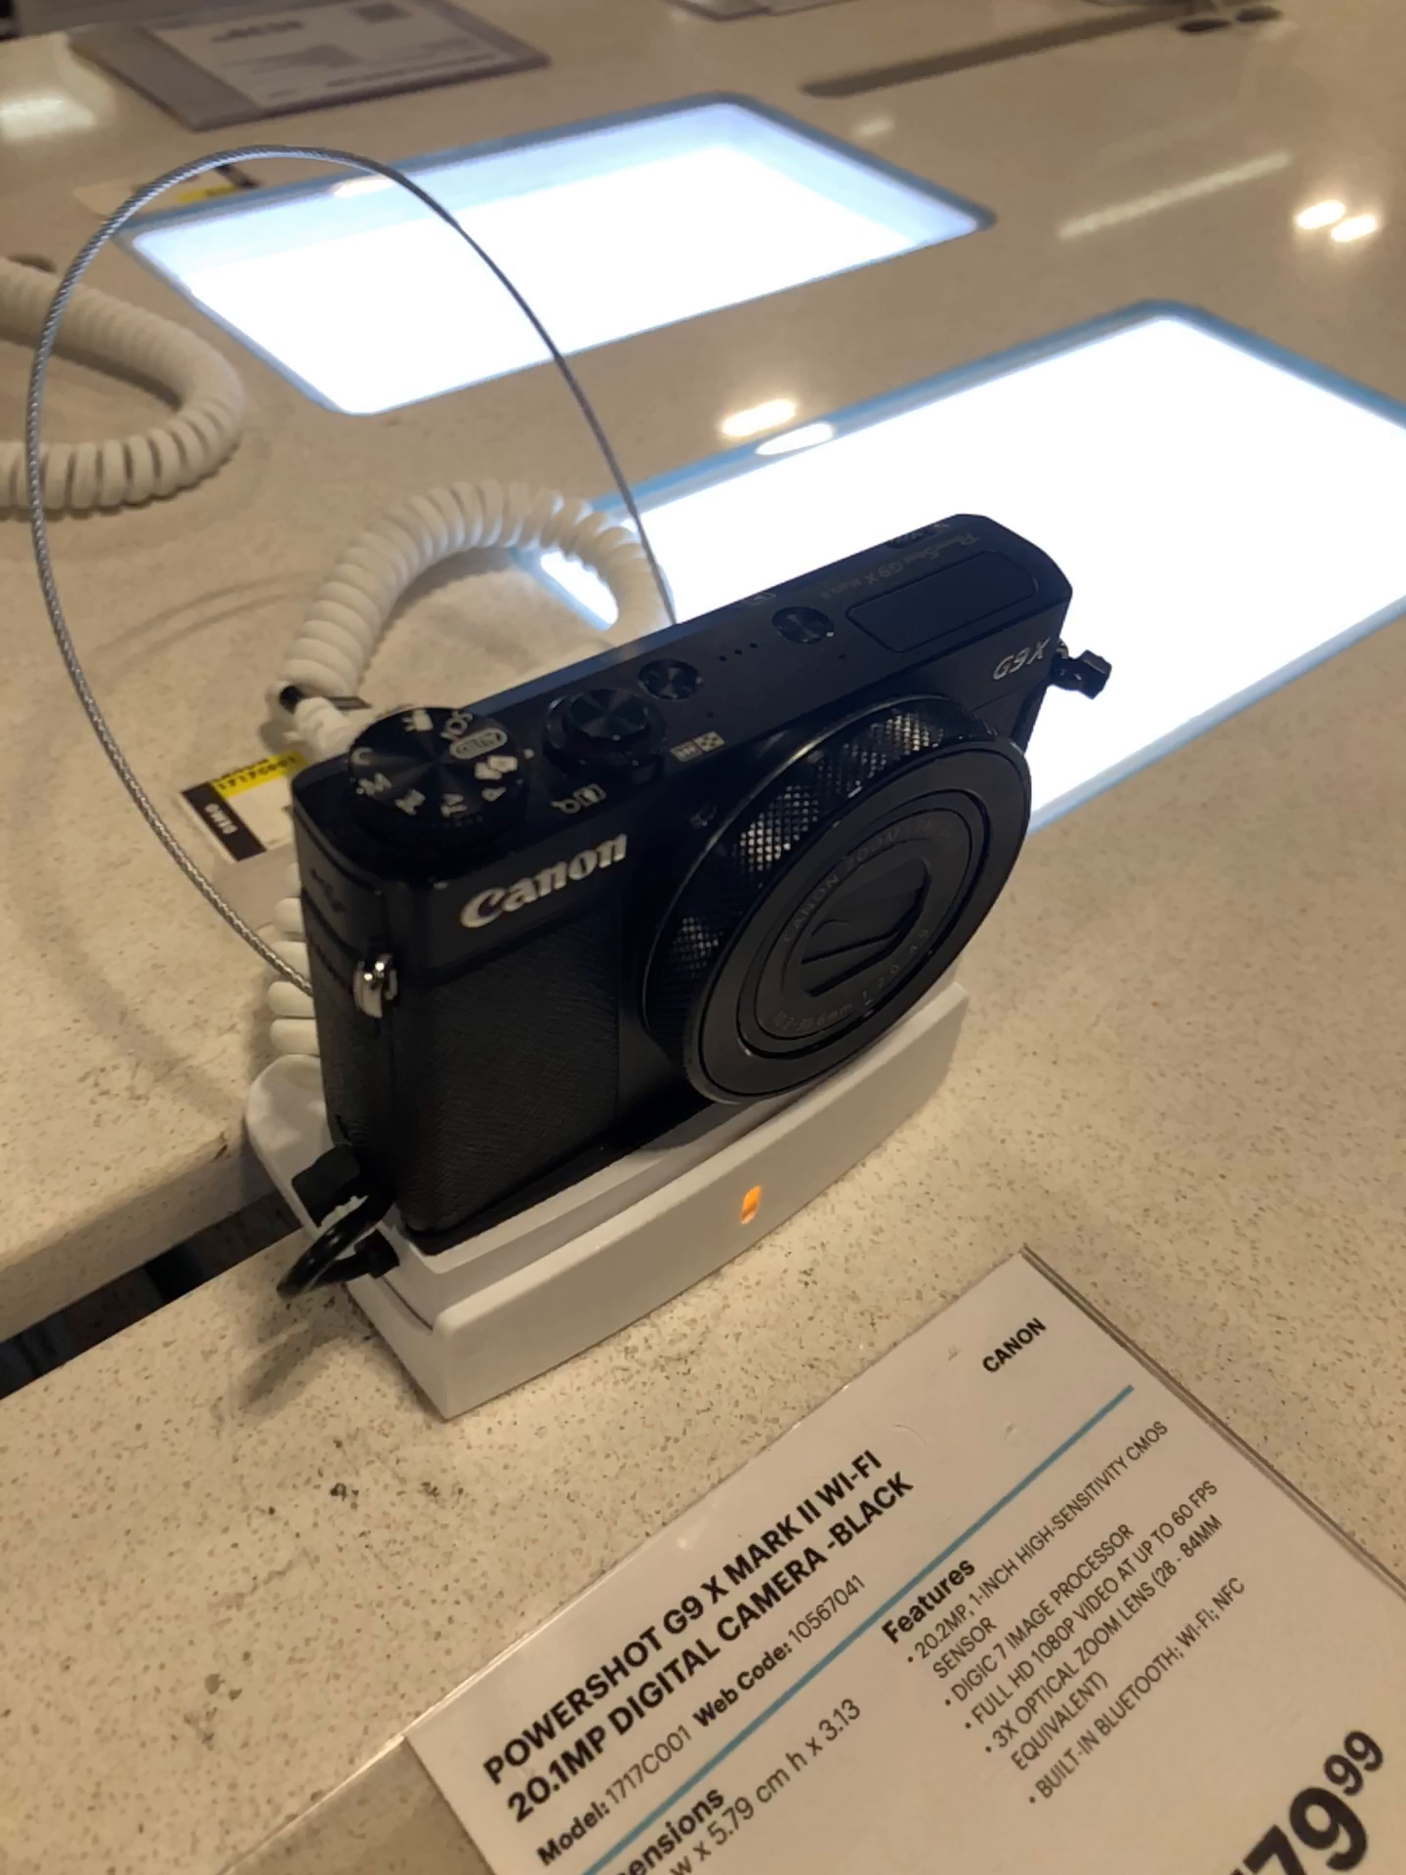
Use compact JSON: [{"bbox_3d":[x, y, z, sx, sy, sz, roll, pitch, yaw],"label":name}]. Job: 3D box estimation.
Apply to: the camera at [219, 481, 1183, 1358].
[{"bbox_3d":[0.003,-0.005,0.179,0.100,0.060,0.030,-27,54,-28],"label":"camera"}]
